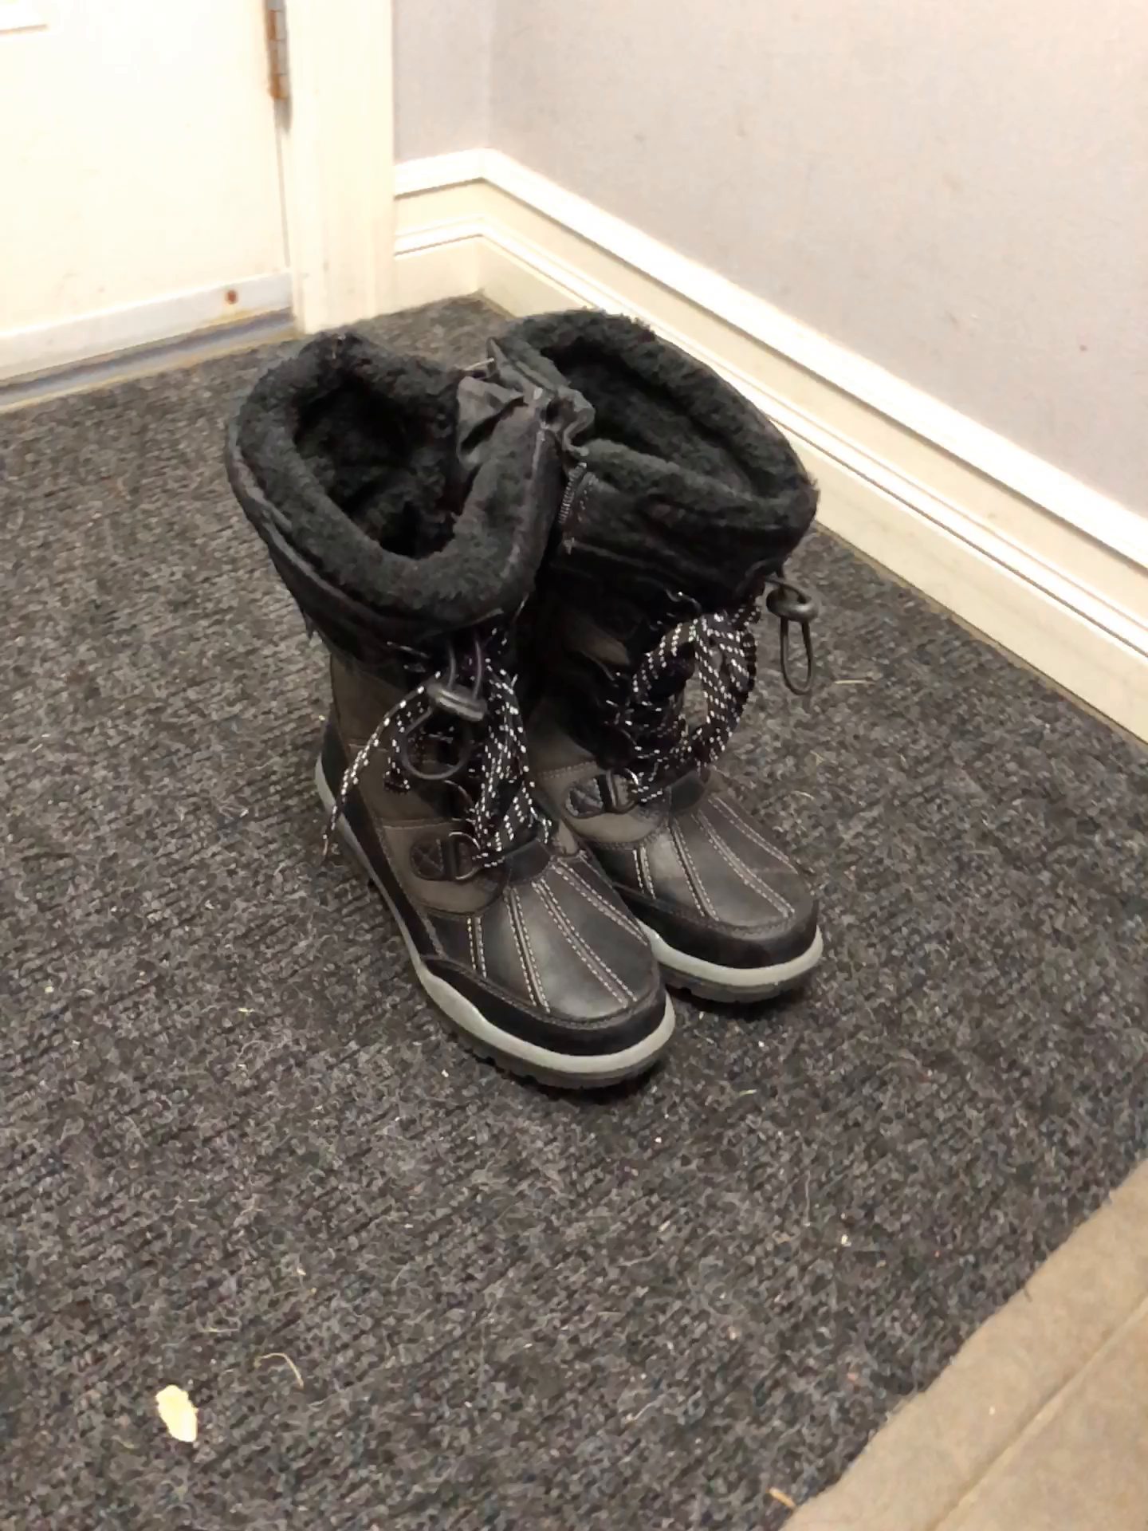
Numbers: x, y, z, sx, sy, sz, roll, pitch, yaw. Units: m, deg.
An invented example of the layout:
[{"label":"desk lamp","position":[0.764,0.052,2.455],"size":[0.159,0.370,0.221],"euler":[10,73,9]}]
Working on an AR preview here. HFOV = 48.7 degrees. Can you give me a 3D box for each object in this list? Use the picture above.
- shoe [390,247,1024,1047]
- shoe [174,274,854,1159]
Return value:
[{"label":"shoe","position":[0.033,-0.056,0.603],"size":[0.100,0.269,0.260],"euler":[-29,54,-31]},{"label":"shoe","position":[-0.043,-0.022,0.553],"size":[0.110,0.269,0.261],"euler":[-28,53,-30]}]
